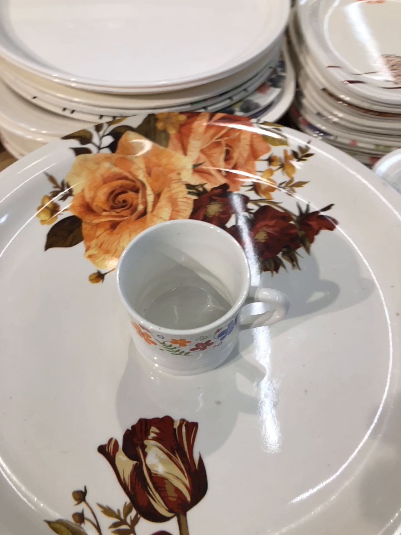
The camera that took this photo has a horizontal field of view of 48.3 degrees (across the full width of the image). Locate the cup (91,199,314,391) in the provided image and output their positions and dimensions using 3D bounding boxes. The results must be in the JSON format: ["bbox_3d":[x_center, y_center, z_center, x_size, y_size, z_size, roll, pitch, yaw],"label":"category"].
[{"bbox_3d":[0.003,0.019,0.252,0.100,0.080,0.070,5,58,2],"label":"cup"}]
